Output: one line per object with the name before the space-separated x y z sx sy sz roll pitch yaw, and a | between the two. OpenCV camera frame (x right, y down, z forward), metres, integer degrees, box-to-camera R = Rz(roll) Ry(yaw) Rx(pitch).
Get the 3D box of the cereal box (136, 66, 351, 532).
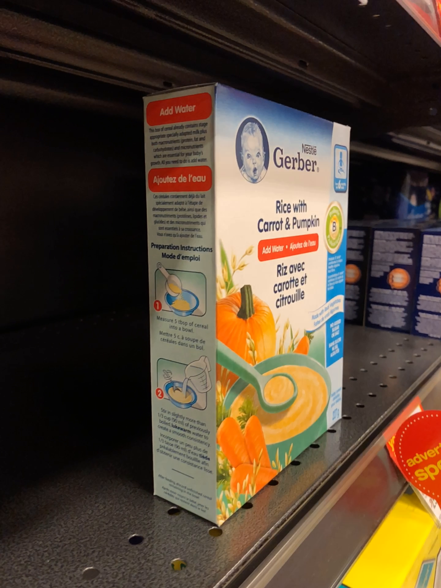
cereal box | 0.023 -0.003 0.279 0.040 0.200 0.150 7 12 35
